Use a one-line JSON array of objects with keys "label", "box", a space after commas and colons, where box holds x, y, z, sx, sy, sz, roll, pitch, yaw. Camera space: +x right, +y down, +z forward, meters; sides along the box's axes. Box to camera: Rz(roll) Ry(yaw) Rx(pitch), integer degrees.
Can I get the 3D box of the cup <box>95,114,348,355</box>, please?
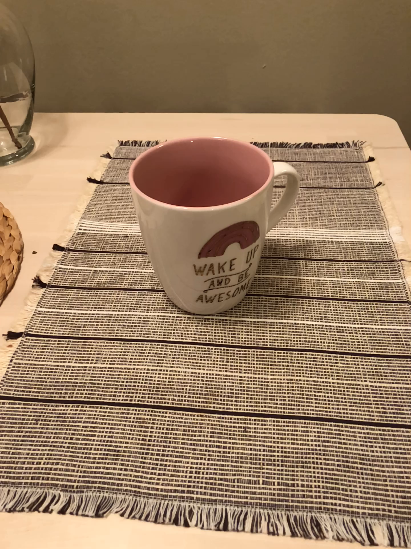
[{"label": "cup", "box": [0.012, -0.042, 0.395, 0.160, 0.119, 0.120, -22, 45, -20]}]
